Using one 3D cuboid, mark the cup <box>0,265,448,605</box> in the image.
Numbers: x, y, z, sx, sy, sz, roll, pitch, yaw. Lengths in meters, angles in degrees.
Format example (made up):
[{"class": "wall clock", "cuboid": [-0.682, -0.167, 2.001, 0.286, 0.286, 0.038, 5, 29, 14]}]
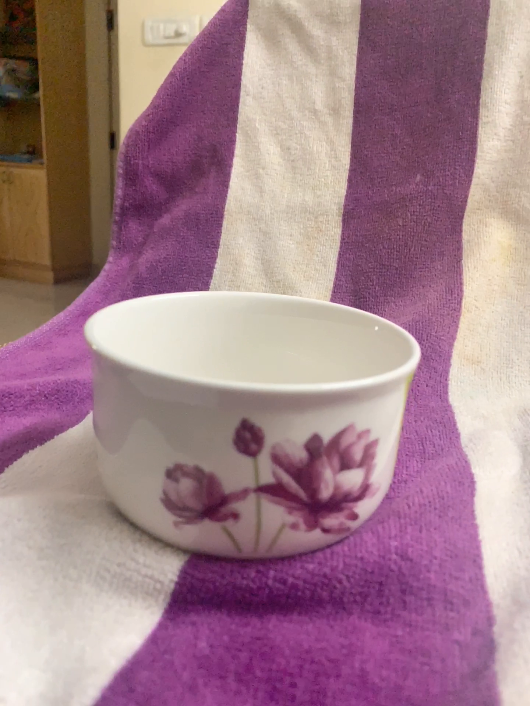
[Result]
[{"class": "cup", "cuboid": [-0.008, 0.010, 0.173, 0.110, 0.050, 0.101, 4, 19, -1]}]
